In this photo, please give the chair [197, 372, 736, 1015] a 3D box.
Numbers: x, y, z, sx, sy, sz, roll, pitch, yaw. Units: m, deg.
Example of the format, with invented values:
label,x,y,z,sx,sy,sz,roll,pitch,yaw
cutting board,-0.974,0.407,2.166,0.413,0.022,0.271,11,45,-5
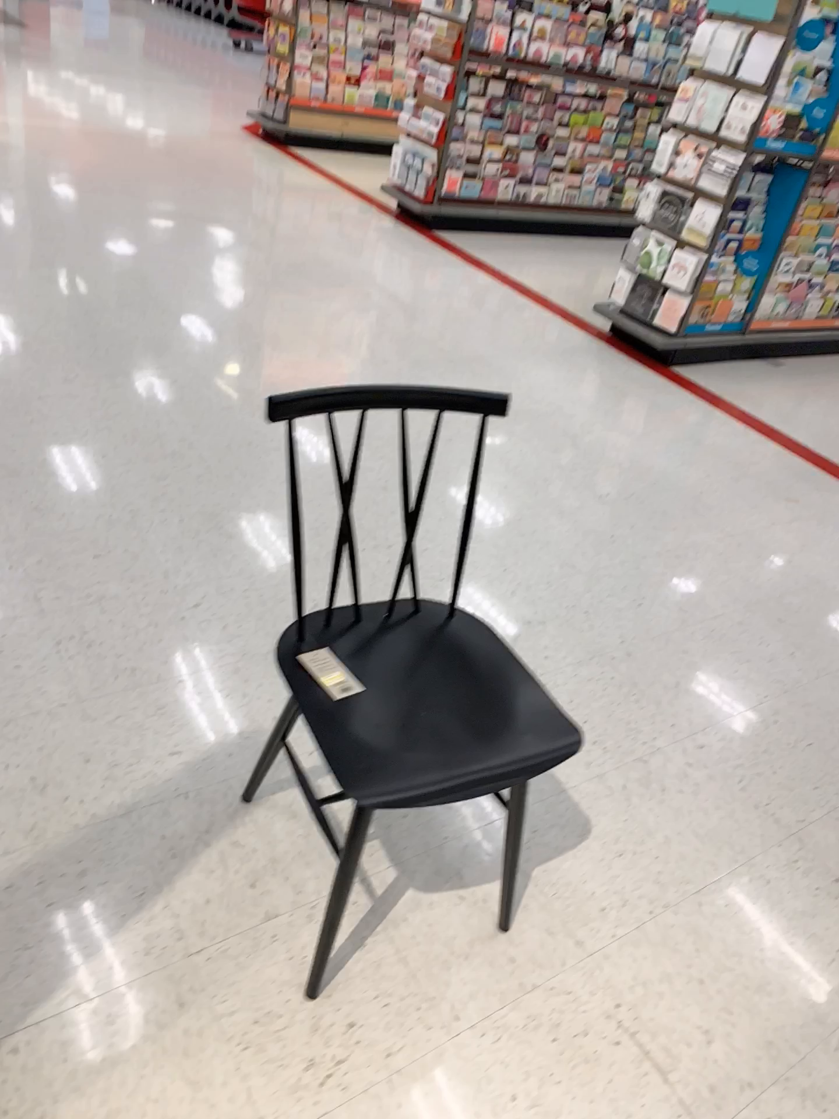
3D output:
label,x,y,z,sx,sy,sz,roll,pitch,yaw
chair,-0.010,0.170,1.311,0.481,0.736,0.522,-8,38,-29
